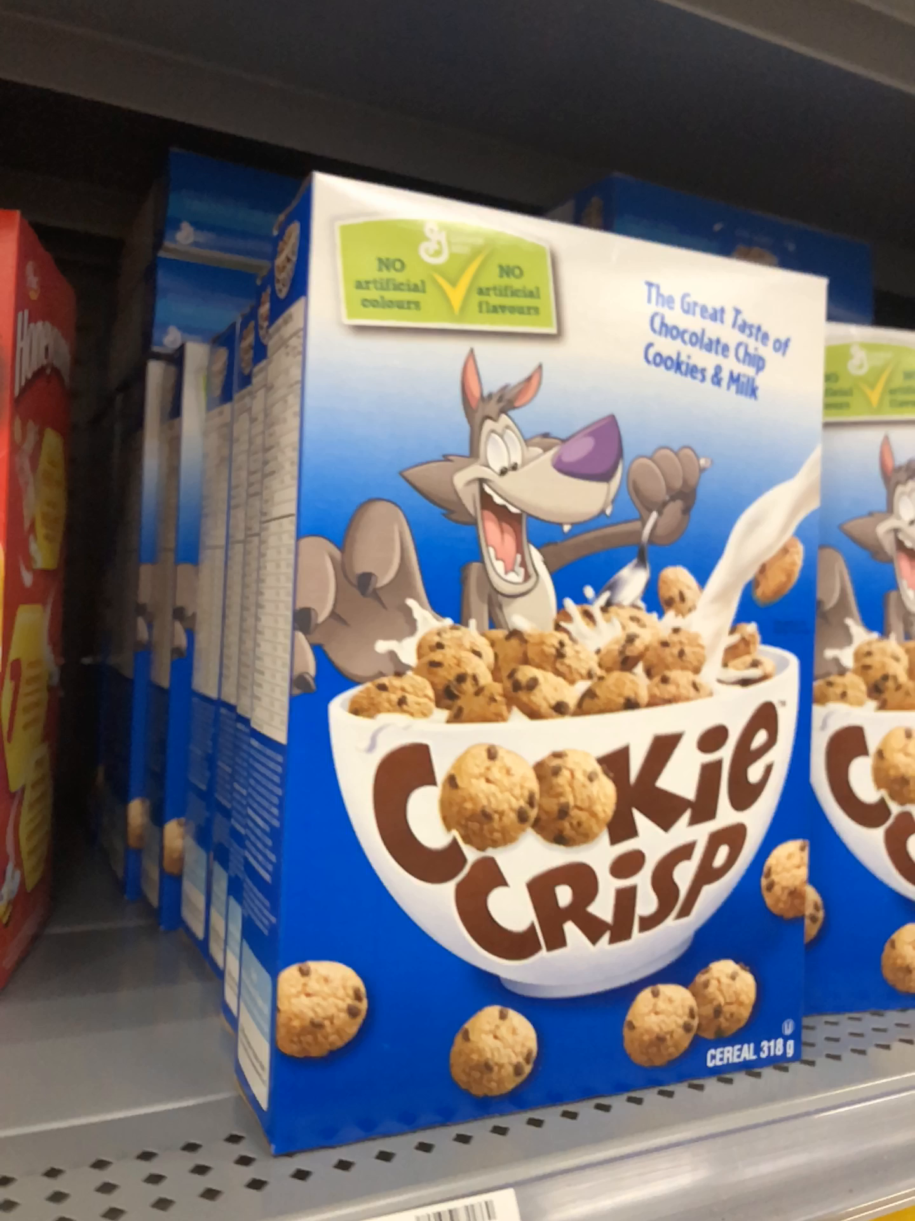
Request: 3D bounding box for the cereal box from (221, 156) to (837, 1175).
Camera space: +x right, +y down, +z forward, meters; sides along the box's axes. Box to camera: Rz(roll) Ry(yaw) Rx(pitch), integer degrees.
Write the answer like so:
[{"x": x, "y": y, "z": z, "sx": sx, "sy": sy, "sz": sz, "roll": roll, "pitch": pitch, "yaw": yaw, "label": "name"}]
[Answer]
[{"x": 0.031, "y": 0.017, "z": 0.347, "sx": 0.200, "sy": 0.280, "sz": 0.050, "roll": 2, "pitch": 0, "yaw": -26, "label": "cereal box"}]
